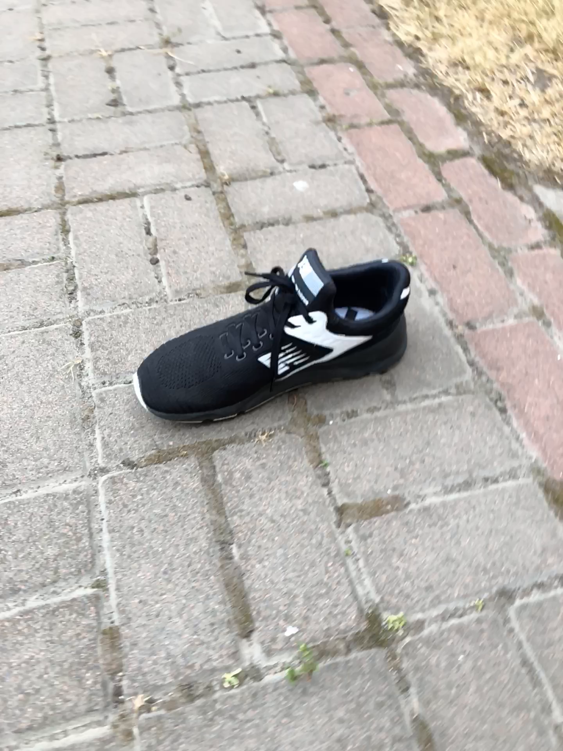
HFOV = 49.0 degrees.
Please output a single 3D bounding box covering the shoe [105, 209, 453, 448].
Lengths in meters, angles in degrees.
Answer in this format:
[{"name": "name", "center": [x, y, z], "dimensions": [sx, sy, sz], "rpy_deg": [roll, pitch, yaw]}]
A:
[{"name": "shoe", "center": [-0.003, -0.045, 0.580], "dimensions": [0.280, 0.129, 0.101], "rpy_deg": [-15, 54, -13]}]
